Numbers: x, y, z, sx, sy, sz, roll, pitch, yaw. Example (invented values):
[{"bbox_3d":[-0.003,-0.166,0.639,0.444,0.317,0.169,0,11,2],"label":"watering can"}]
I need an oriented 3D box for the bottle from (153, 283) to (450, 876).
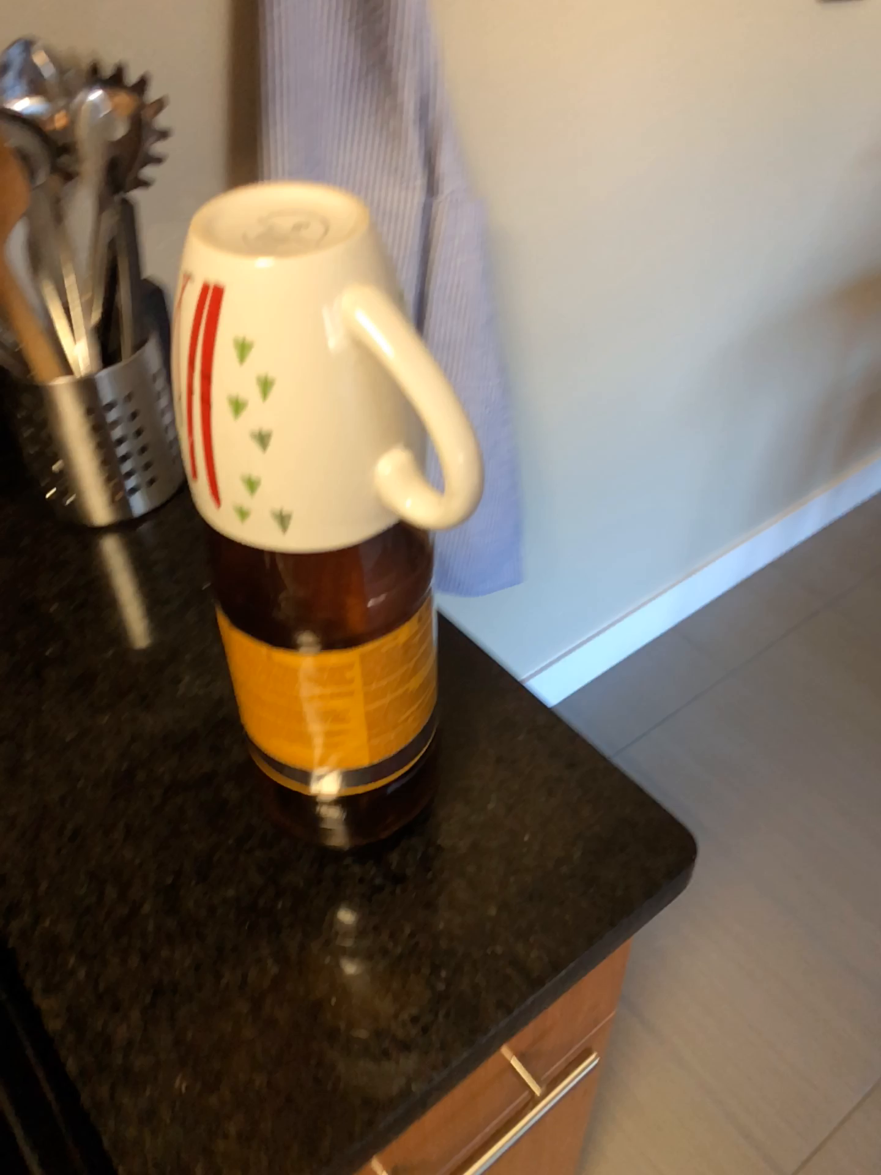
[{"bbox_3d":[-0.053,0.012,0.466,0.100,0.279,0.100,-1,42,0],"label":"bottle"}]
